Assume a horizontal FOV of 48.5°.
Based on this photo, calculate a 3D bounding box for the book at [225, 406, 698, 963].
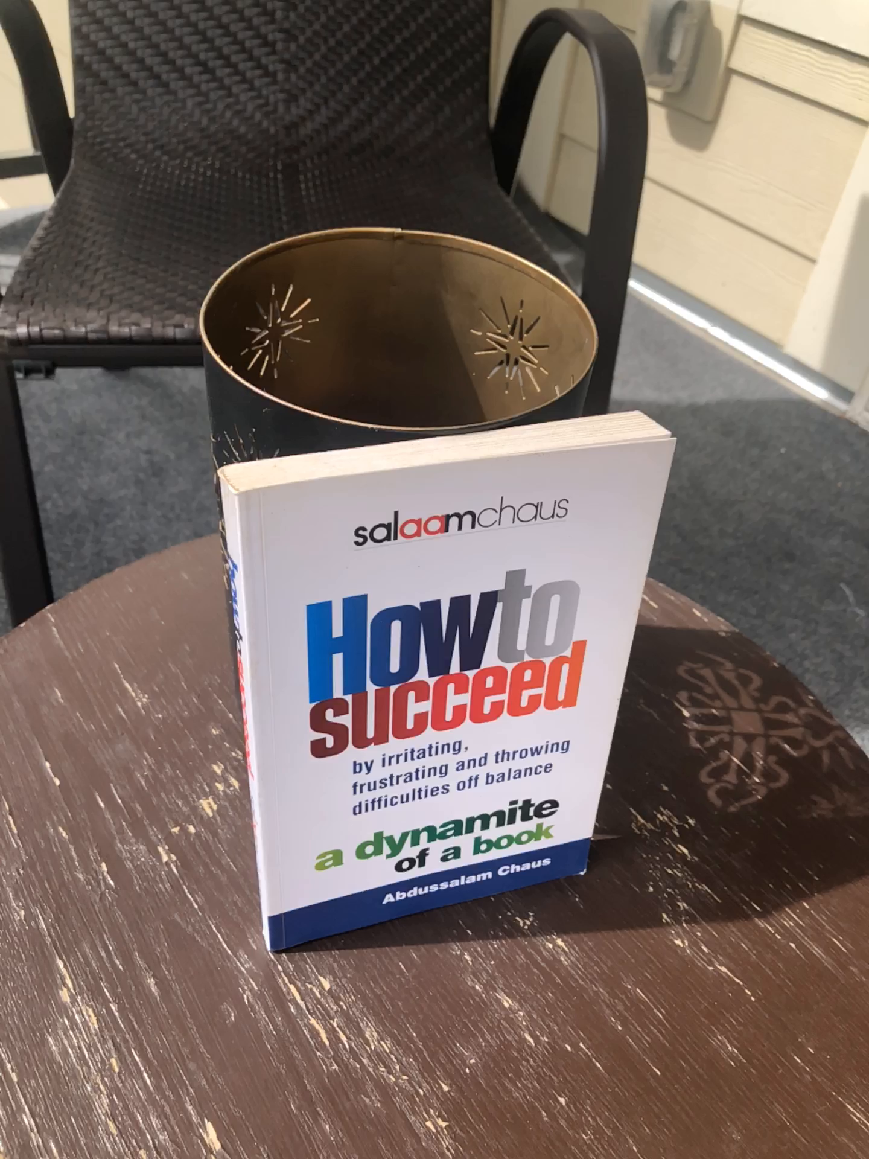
[{"bbox_3d":[0.005,0.046,0.336,0.139,0.207,0.018,-9,37,-18],"label":"book"}]
